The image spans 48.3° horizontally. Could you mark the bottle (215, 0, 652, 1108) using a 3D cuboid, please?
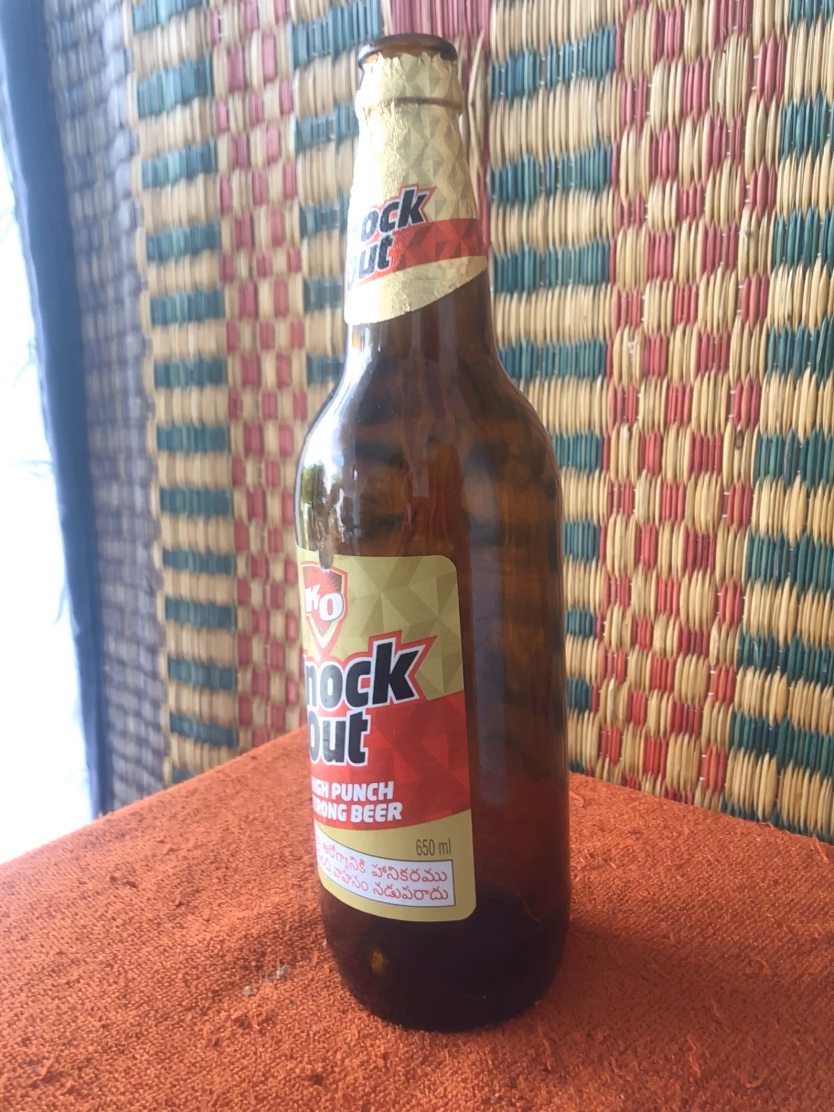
[{"bbox_3d":[0.011,-0.002,0.241,0.070,0.249,0.070,-3,13,1],"label":"bottle"}]
